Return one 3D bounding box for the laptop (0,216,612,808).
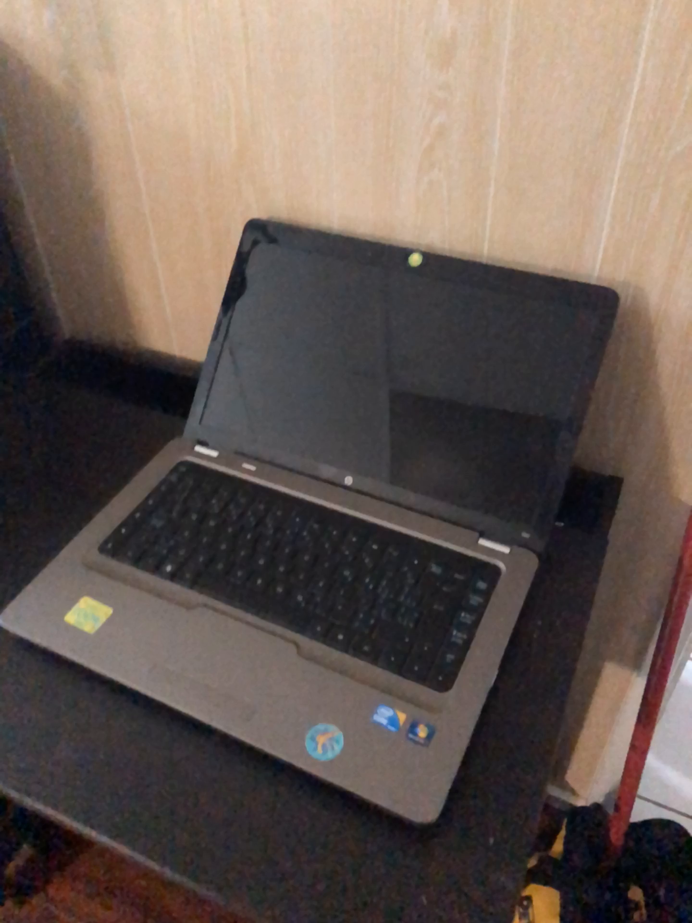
[{"bbox_3d":[-0.025,-0.017,0.630,0.364,0.154,0.420,17,45,21],"label":"laptop"}]
